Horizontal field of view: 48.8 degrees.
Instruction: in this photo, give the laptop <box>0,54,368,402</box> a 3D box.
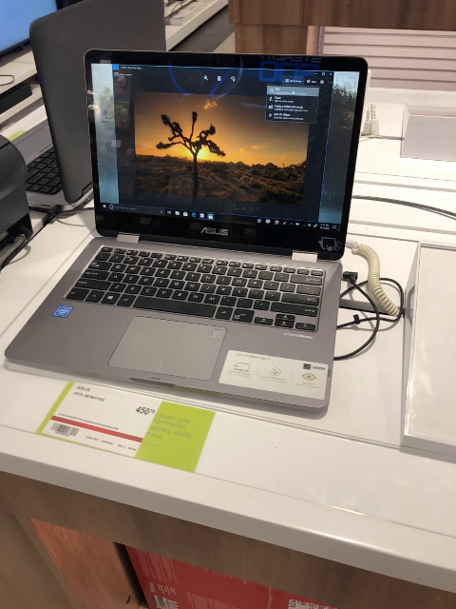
[{"bbox_3d":[-0.041,-0.100,0.510,0.319,0.211,0.291,6,41,11],"label":"laptop"}]
